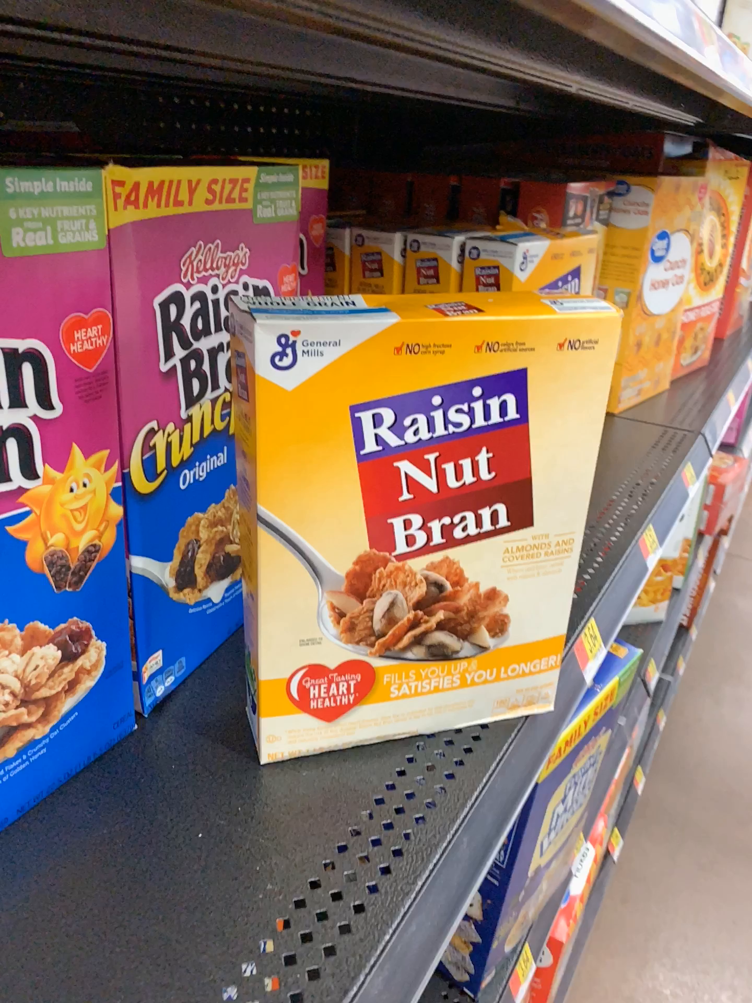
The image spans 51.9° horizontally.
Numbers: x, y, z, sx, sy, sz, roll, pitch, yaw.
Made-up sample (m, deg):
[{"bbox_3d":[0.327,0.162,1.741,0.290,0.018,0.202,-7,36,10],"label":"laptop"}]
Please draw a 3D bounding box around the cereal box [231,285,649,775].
[{"bbox_3d":[0.026,0.016,0.438,0.200,0.259,0.060,-5,25,-17],"label":"cereal box"}]
